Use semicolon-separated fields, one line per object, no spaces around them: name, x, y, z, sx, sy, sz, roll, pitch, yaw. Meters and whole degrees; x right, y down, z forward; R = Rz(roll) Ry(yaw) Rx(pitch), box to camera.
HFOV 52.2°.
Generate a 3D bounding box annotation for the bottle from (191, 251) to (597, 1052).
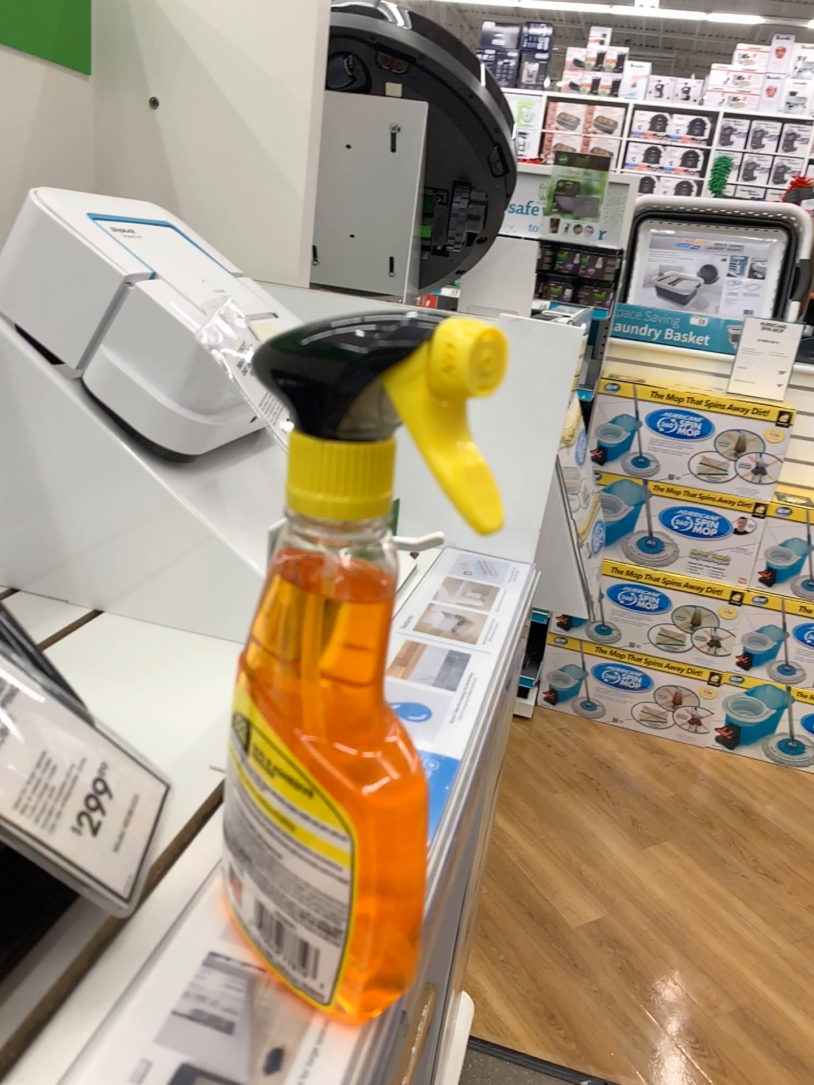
bottle;-0.017;0.031;0.270;0.050;0.226;0.100;-11;26;-44
